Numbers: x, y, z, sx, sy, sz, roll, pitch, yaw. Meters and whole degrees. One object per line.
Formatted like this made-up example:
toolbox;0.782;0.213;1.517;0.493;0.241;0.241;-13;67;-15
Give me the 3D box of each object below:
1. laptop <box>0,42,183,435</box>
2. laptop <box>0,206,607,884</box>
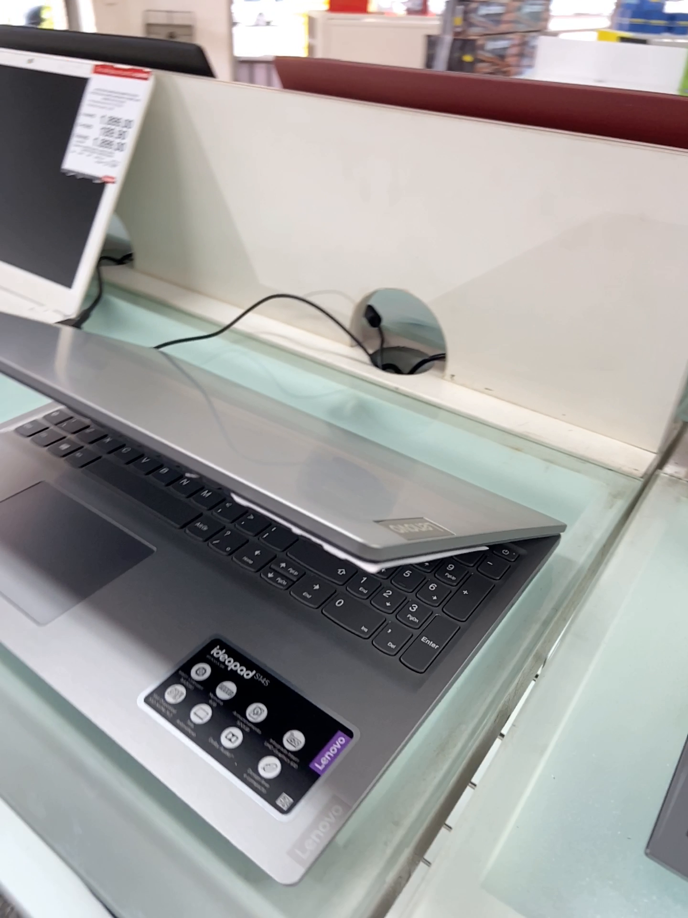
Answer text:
laptop;-0.449;-0.253;0.663;0.410;0.202;0.384;25;40;31
laptop;-0.091;-0.019;0.392;0.364;0.127;0.251;24;39;29
